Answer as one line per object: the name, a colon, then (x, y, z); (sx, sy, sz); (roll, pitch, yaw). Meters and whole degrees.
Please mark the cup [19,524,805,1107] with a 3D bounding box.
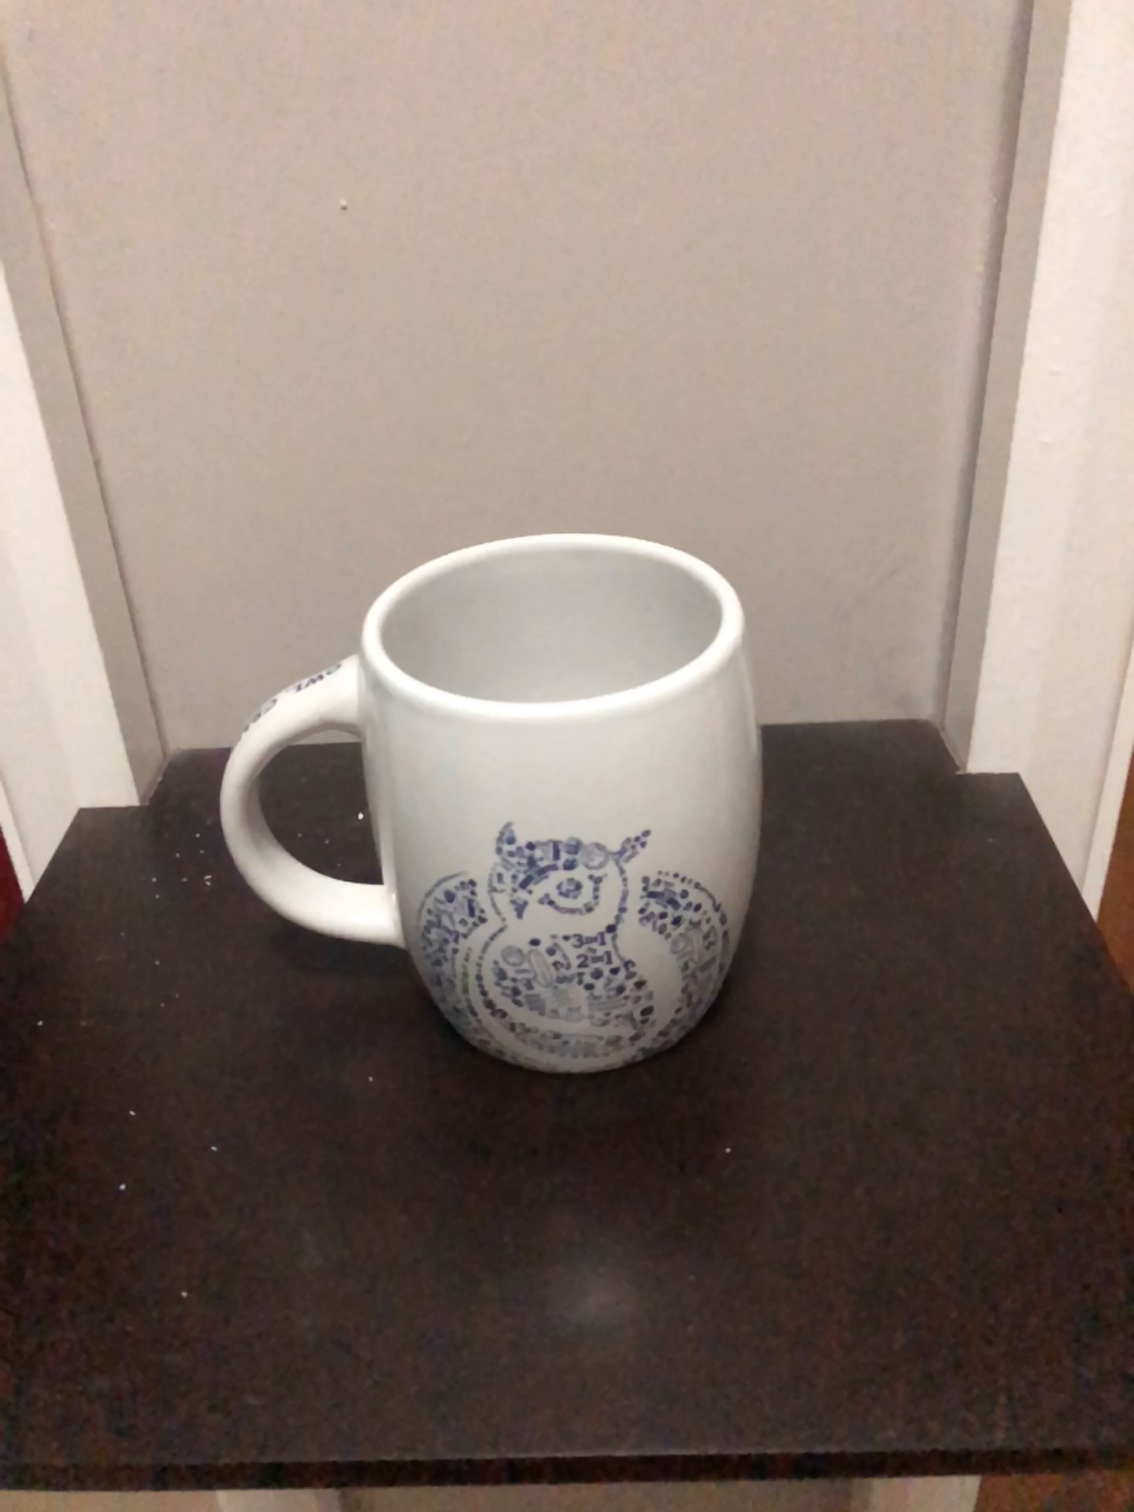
cup: (-0.023, 0.008, 0.270); (0.130, 0.079, 0.101); (-1, 31, 3)
